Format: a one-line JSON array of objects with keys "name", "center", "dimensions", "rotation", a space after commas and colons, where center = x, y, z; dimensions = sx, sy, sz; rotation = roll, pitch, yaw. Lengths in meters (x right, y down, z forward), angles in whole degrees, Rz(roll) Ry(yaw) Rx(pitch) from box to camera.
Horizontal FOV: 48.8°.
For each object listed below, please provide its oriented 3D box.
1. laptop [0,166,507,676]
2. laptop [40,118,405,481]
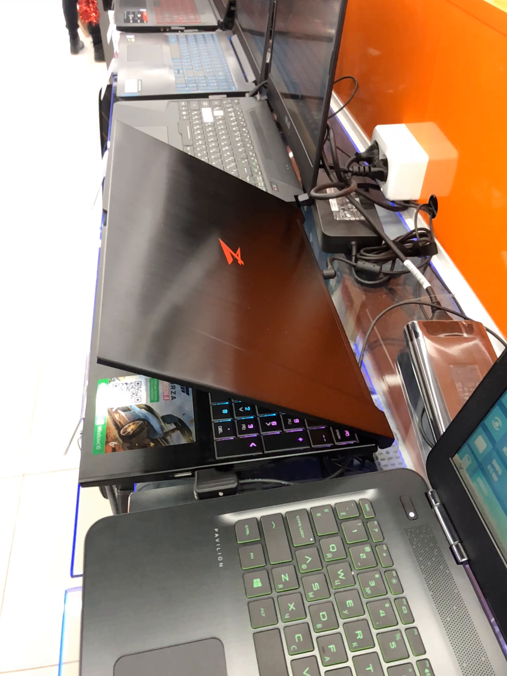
[{"name": "laptop", "center": [0.060, 0.137, 0.212], "dimensions": [0.306, 0.252, 0.336], "rotation": [-5, 43, -8]}, {"name": "laptop", "center": [-0.042, -0.070, 0.526], "dimensions": [0.233, 0.118, 0.361], "rotation": [-6, 43, -5]}]
